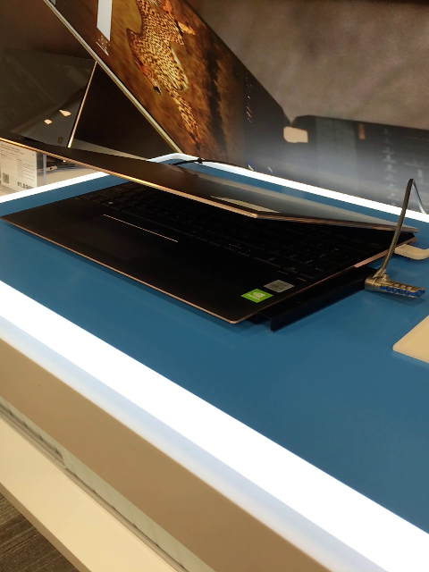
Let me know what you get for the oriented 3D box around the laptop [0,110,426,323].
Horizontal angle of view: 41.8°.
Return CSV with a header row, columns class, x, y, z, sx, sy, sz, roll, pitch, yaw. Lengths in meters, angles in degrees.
class,x,y,z,sx,sy,sz,roll,pitch,yaw
laptop,-0.026,-0.102,0.613,0.362,0.089,0.240,25,41,38
